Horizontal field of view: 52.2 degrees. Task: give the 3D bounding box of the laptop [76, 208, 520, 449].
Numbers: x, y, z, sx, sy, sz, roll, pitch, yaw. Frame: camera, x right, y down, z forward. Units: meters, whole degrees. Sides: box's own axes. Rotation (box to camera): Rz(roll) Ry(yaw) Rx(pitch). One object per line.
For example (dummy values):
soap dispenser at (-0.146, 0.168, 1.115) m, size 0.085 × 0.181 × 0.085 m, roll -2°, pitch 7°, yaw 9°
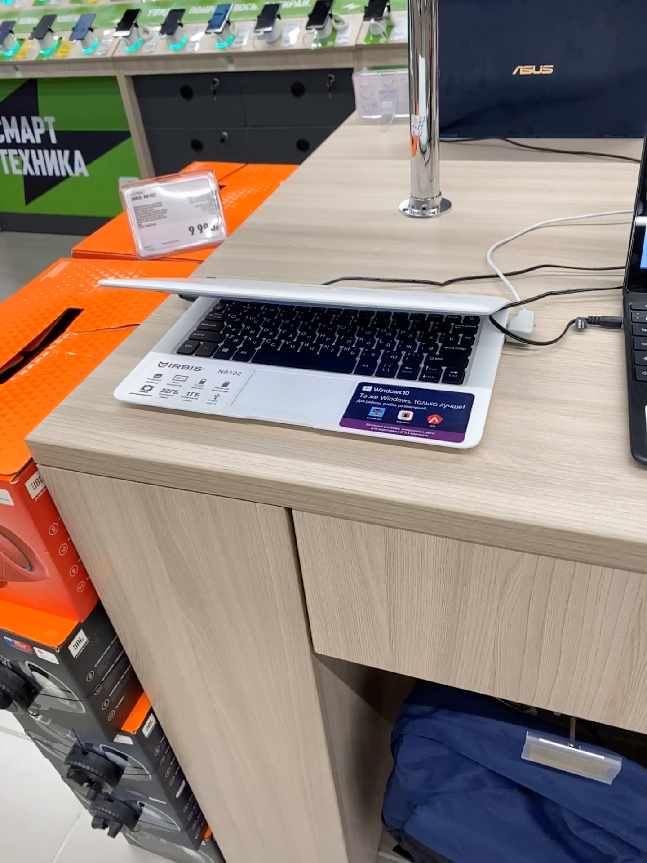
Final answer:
laptop at (-0.008, -0.093, 0.502) m, size 0.280 × 0.078 × 0.179 m, roll 8°, pitch 41°, yaw 18°
